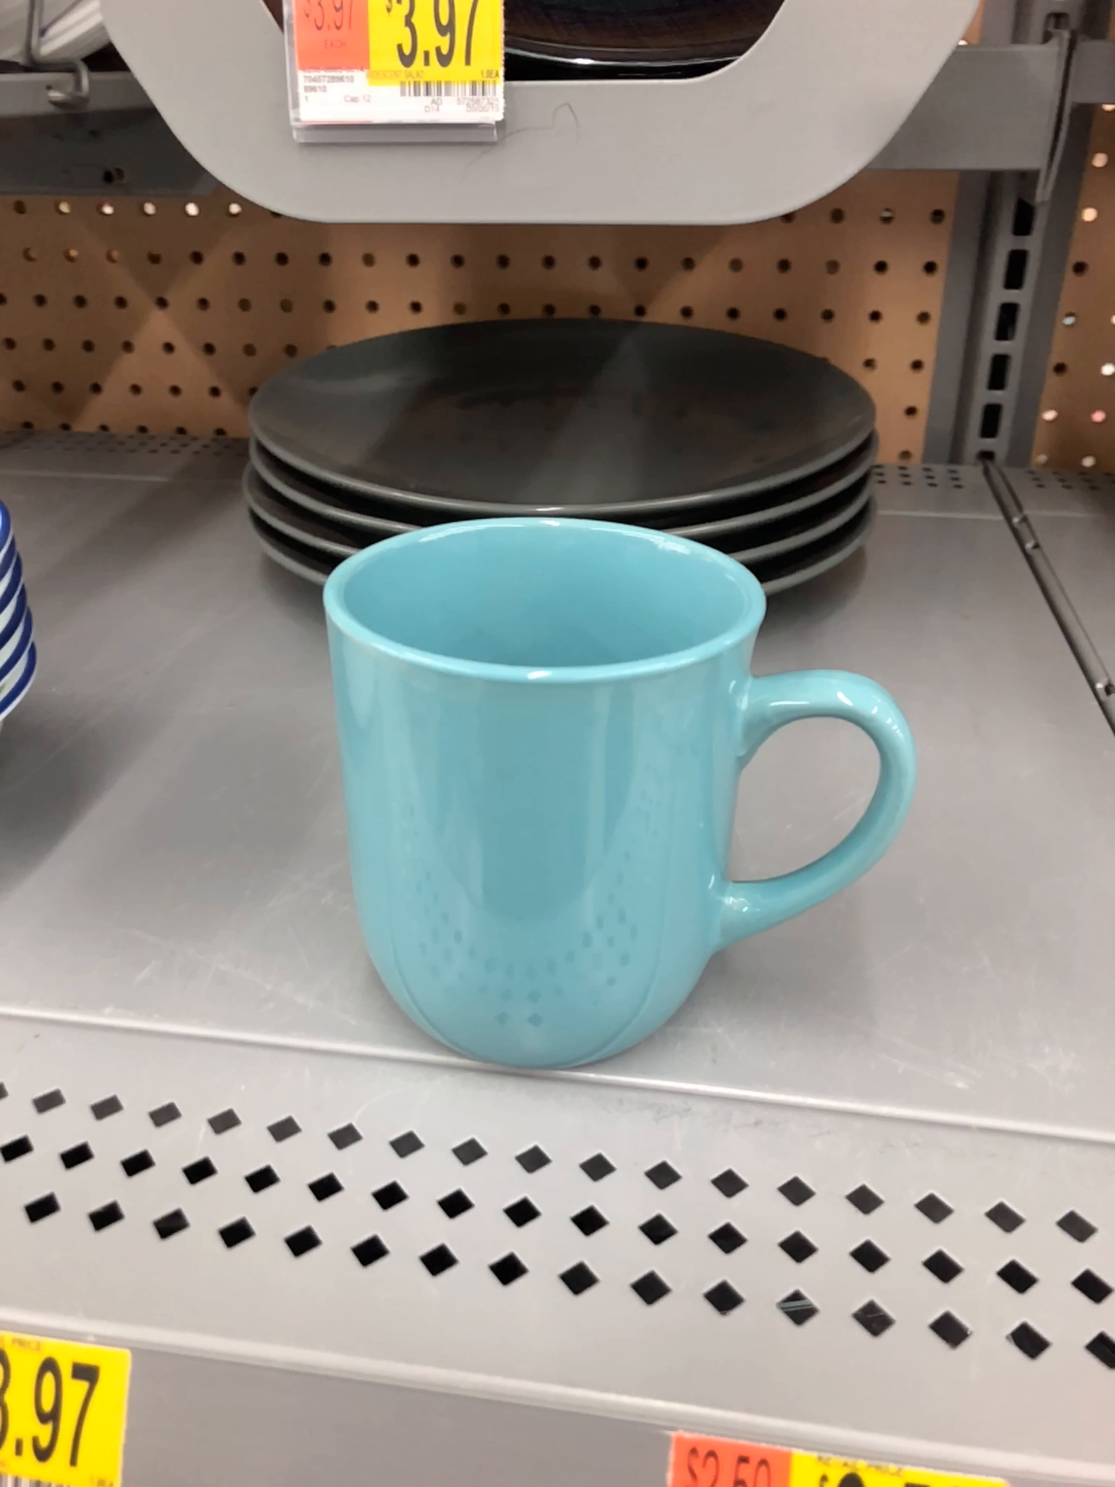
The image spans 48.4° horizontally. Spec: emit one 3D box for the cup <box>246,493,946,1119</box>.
[{"bbox_3d":[0.010,0.007,0.262,0.114,0.091,0.091,3,29,6],"label":"cup"}]
